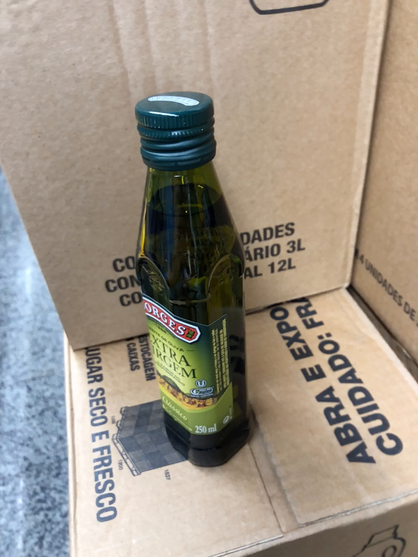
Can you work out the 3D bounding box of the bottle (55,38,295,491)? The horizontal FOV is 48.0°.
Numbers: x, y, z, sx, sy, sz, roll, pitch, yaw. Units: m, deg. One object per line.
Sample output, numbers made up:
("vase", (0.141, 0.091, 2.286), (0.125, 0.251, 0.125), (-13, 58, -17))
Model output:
("bottle", (-0.005, 0.010, 0.234), (0.060, 0.218, 0.060), (-3, 39, 2))
